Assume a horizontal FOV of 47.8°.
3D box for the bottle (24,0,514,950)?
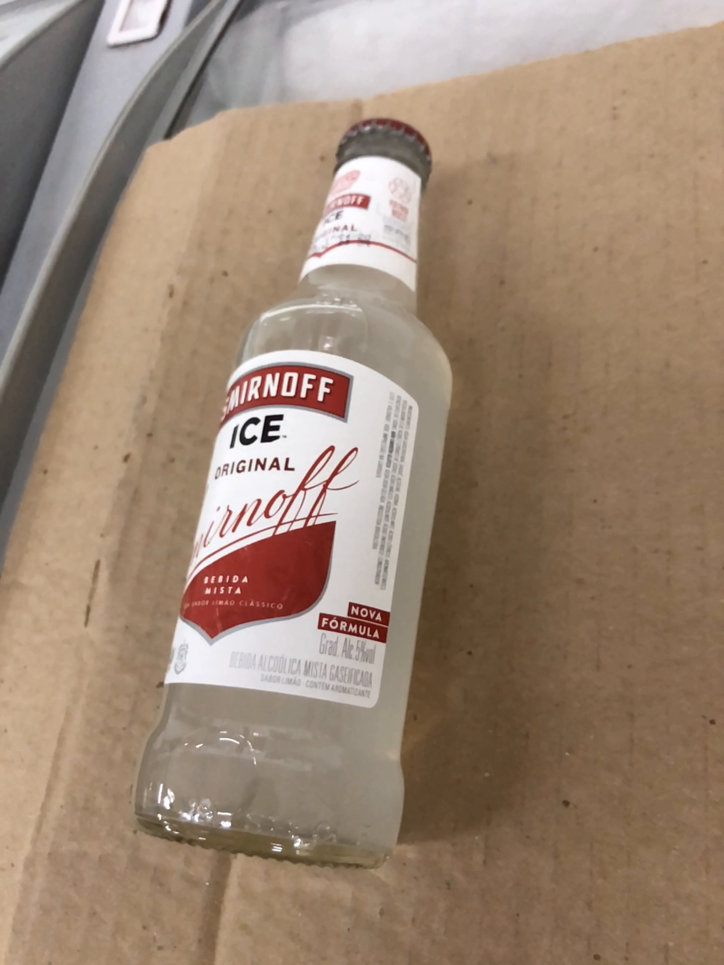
[{"bbox_3d":[-0.010,-0.014,0.201,0.070,0.050,0.210,0,69,23],"label":"bottle"}]
